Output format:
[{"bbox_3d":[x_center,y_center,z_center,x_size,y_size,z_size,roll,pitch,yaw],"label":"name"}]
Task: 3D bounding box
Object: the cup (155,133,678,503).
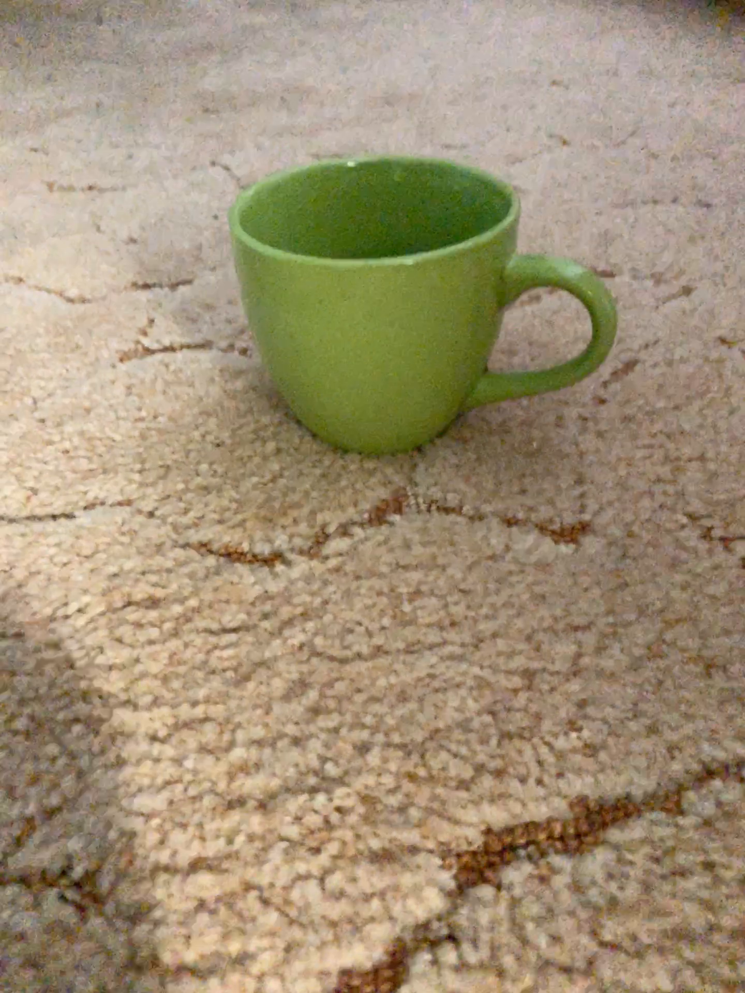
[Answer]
[{"bbox_3d":[0.016,-0.062,0.234,0.120,0.059,0.091,16,40,21],"label":"cup"}]
